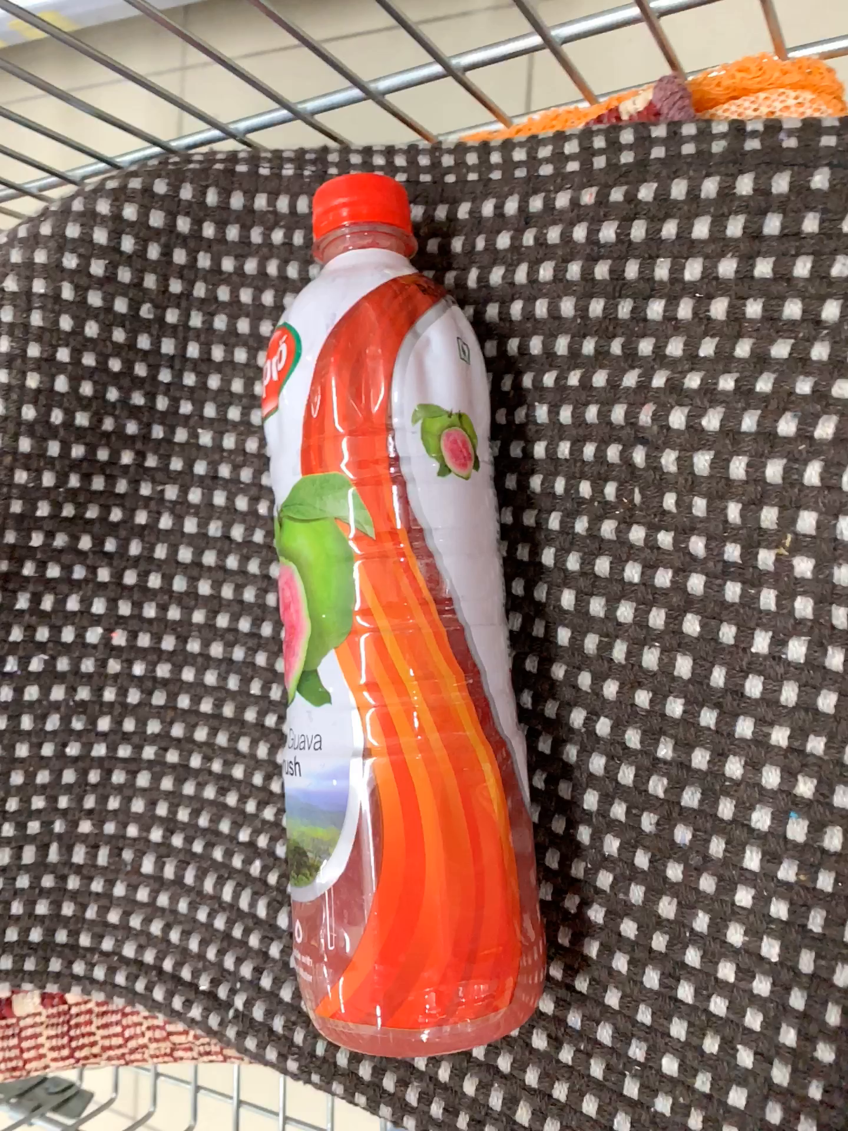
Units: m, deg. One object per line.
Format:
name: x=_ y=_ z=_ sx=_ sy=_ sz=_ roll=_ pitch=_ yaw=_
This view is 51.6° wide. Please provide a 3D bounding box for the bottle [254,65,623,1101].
bottle: x=-0.004 y=-0.001 z=0.245 sx=0.070 sy=0.070 sz=0.240 roll=-1 pitch=81 yaw=-18
